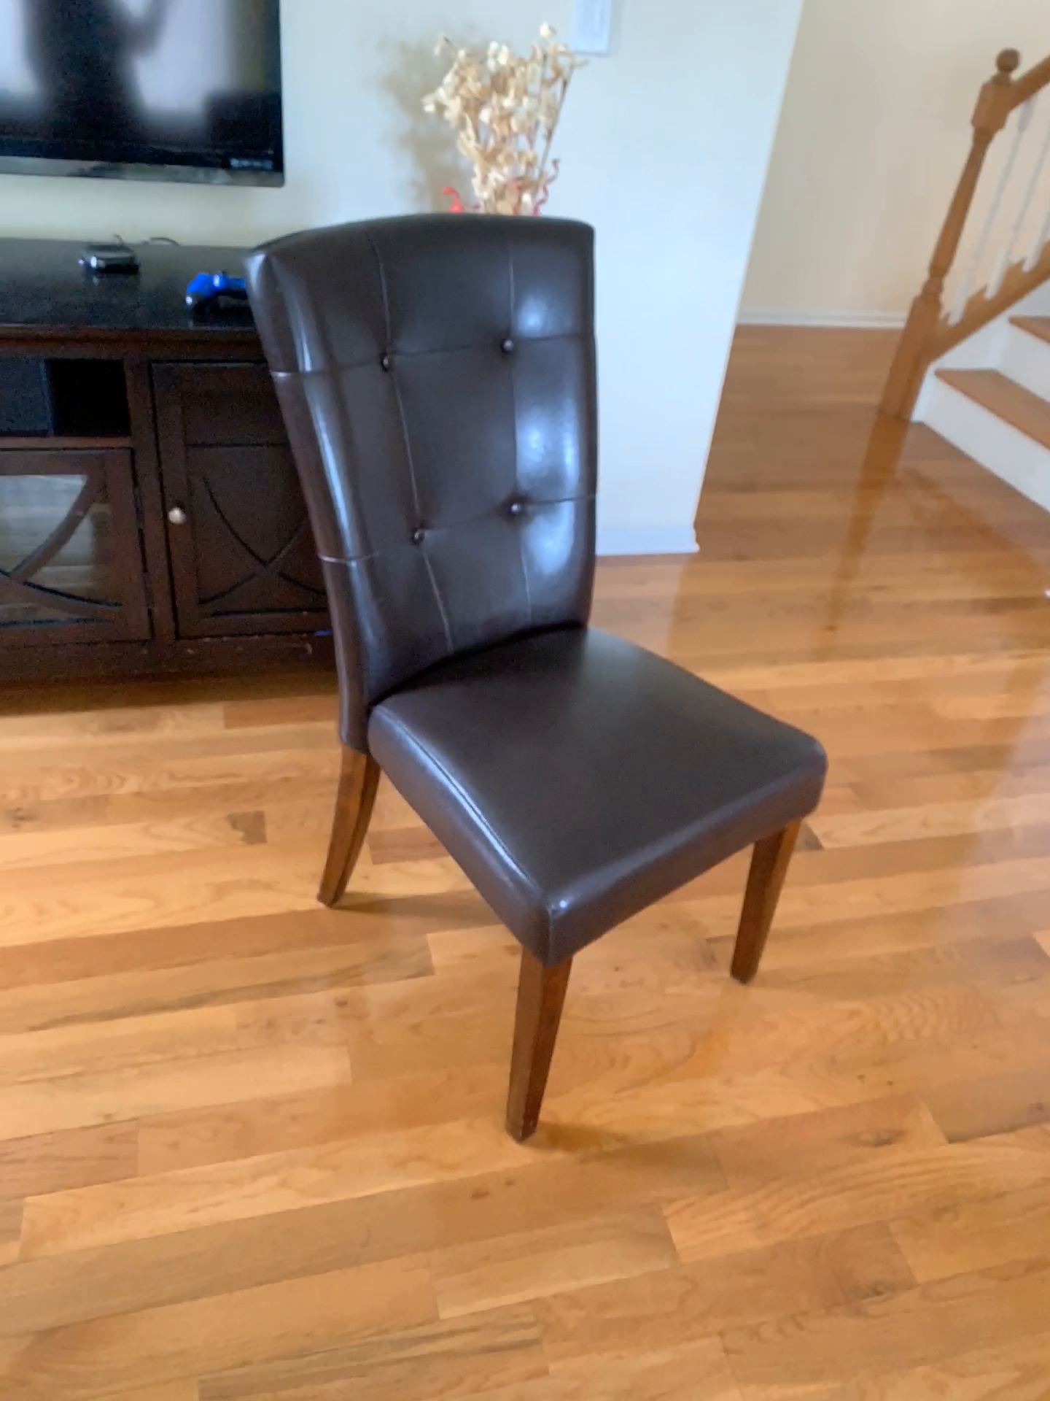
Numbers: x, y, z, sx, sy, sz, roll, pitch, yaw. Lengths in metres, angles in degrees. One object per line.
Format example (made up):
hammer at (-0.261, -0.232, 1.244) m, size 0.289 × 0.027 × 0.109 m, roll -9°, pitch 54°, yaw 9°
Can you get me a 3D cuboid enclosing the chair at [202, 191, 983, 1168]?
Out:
chair at (-0.001, -0.062, 1.430) m, size 0.499 × 0.968 × 0.704 m, roll -22°, pitch 44°, yaw -35°
